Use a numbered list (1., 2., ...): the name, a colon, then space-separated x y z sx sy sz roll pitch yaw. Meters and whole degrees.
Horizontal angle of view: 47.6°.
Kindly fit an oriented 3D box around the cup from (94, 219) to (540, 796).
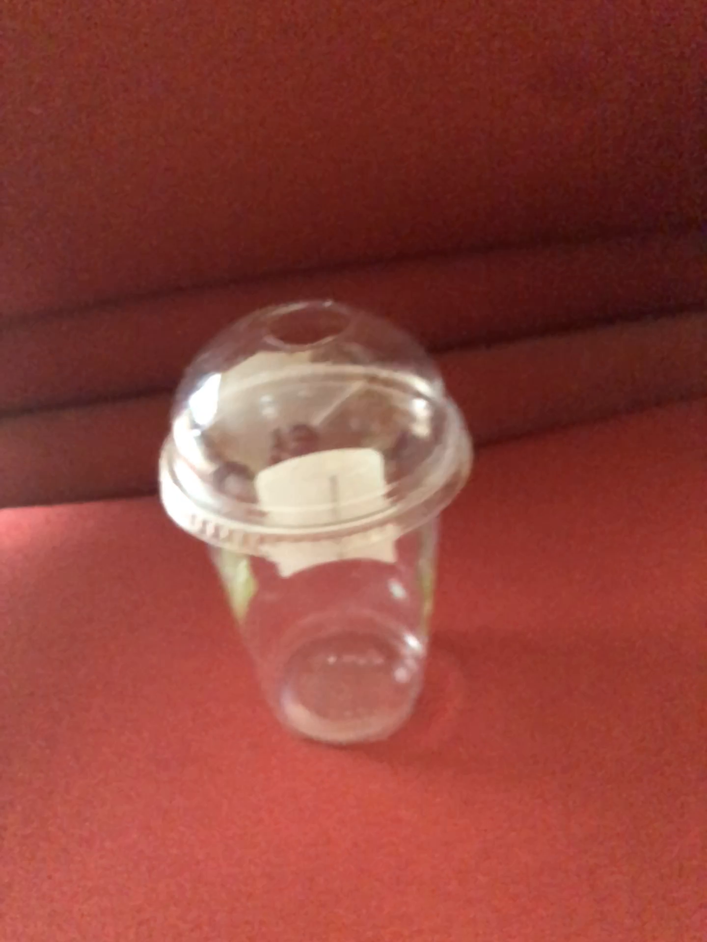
1. cup: -0.005 0.014 0.259 0.100 0.150 0.090 -8 35 -2
